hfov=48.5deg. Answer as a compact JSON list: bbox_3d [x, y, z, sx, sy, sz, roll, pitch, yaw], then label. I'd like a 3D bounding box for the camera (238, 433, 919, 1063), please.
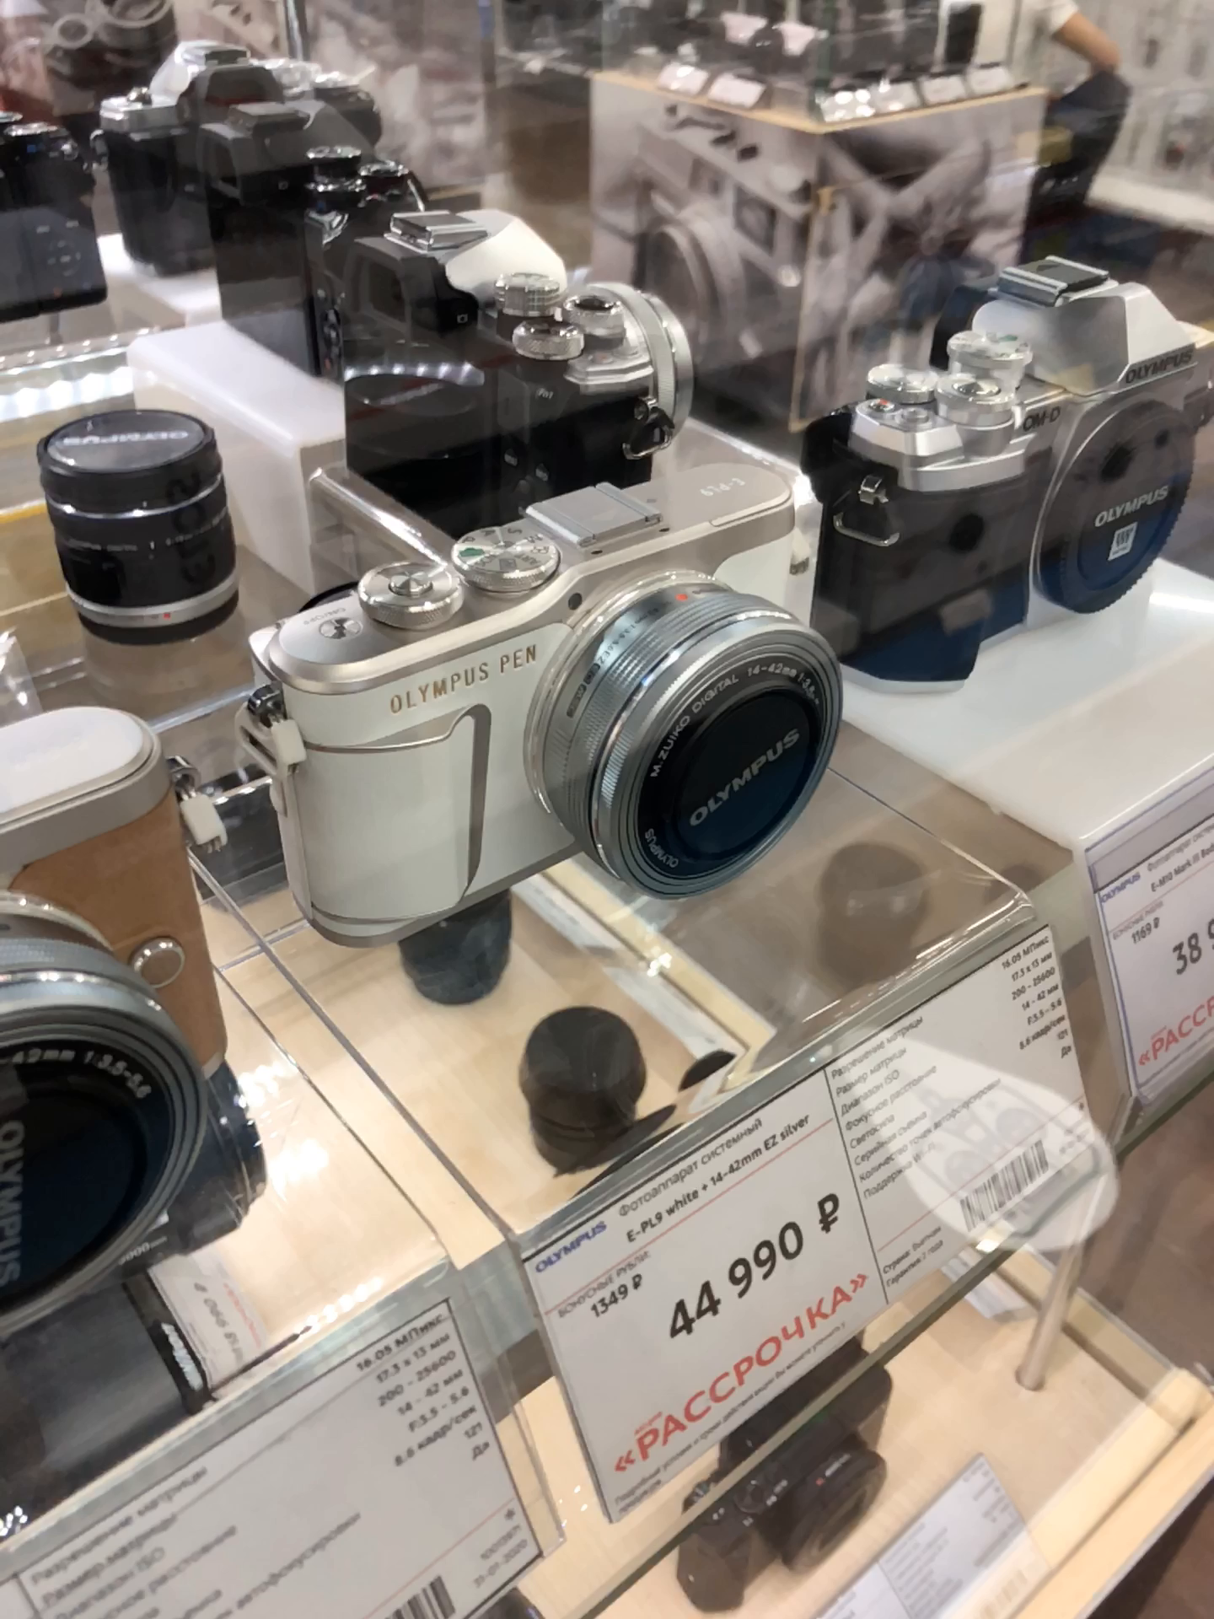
[{"bbox_3d":[-0.002,-0.018,0.261,0.115,0.070,0.053,-27,45,-32],"label":"camera"}]

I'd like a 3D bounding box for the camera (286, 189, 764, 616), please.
[{"bbox_3d":[-0.025,-0.119,0.377,0.072,0.072,0.114,-26,45,-31],"label":"camera"}]

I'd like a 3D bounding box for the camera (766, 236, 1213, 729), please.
[{"bbox_3d":[0.098,-0.080,0.312,0.114,0.072,0.053,-27,45,-32],"label":"camera"}]

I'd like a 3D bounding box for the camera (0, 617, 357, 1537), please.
[{"bbox_3d":[-0.092,0.030,0.187,0.088,0.072,0.061,-27,45,-32],"label":"camera"}]
